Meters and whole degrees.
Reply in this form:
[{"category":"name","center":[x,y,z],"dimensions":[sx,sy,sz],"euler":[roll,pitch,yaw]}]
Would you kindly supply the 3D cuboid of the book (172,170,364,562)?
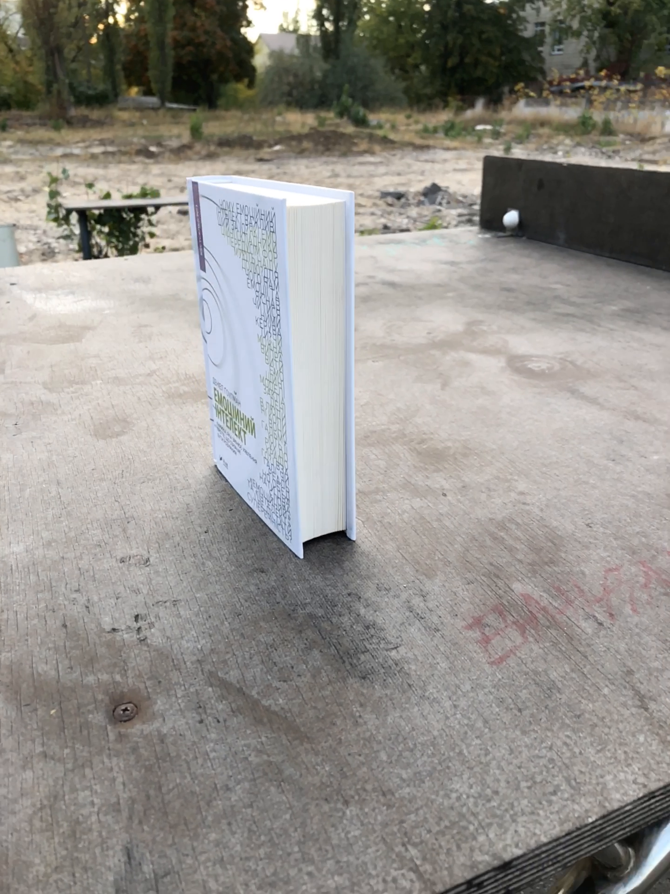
[{"category":"book","center":[-0.045,-0.061,0.474],"dimensions":[0.050,0.209,0.161],"euler":[-13,27,-26]}]
